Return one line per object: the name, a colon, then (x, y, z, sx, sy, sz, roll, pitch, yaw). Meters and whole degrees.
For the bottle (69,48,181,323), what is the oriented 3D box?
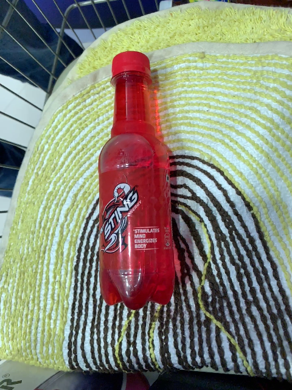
bottle: (-0.015, -0.006, 0.213, 0.060, 0.040, 0.170, -5, 83, 15)
